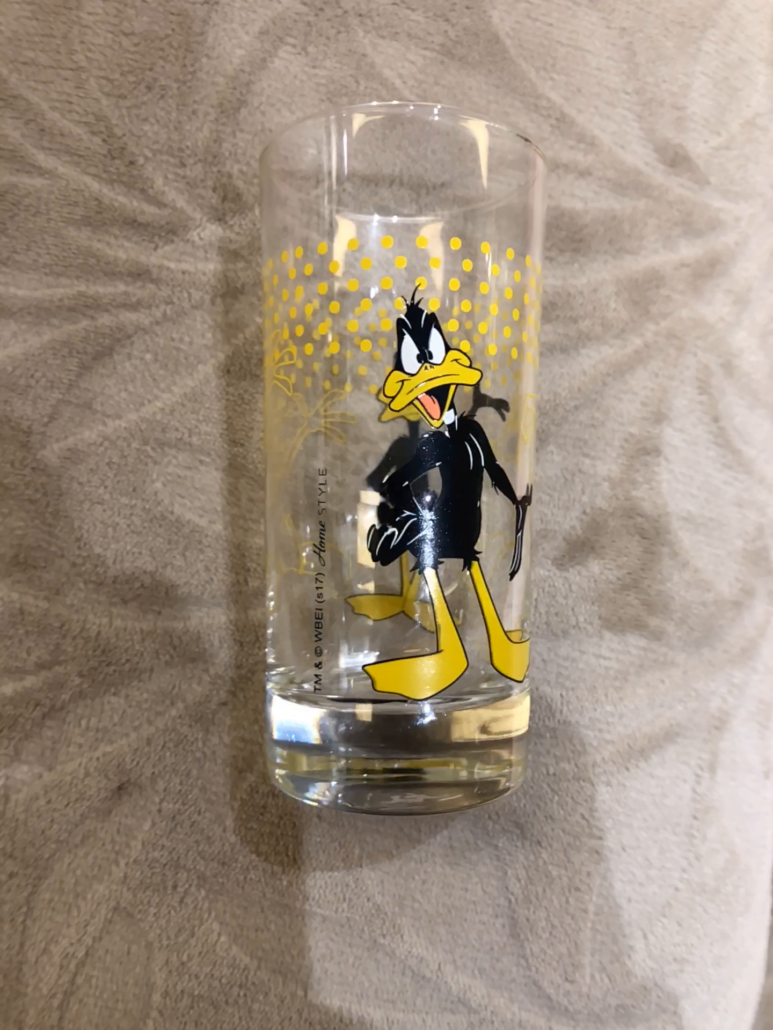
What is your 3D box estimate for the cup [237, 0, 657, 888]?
[{"bbox_3d":[0.005,-0.015,0.193,0.070,0.070,0.160,-1,83,-12],"label":"cup"}]
